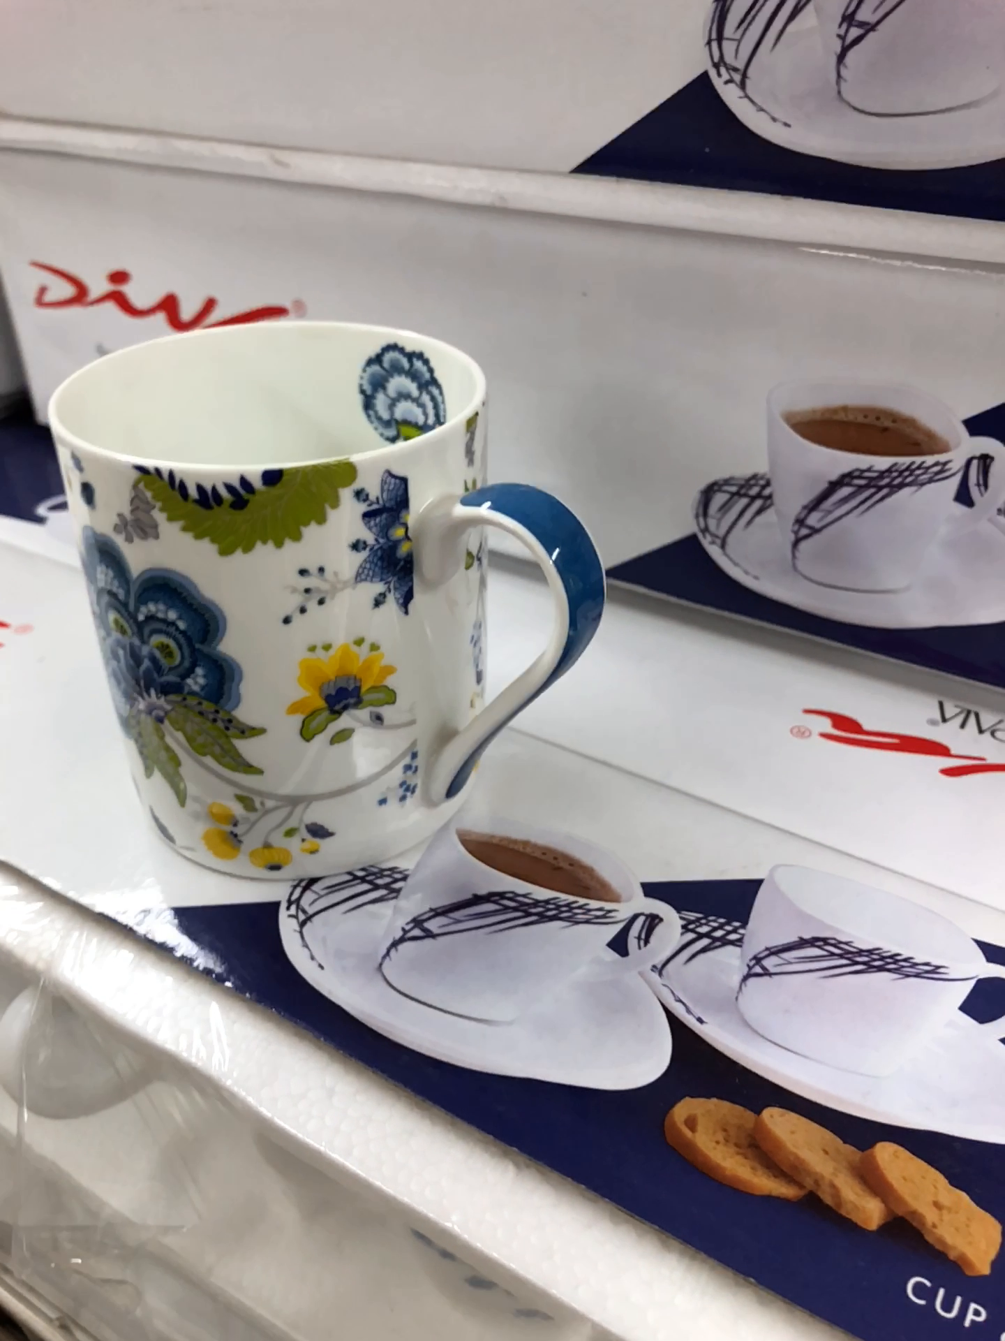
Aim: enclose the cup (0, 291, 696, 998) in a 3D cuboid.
[{"bbox_3d":[-0.026,-0.011,0.214,0.100,0.089,0.071,15,37,21],"label":"cup"}]
